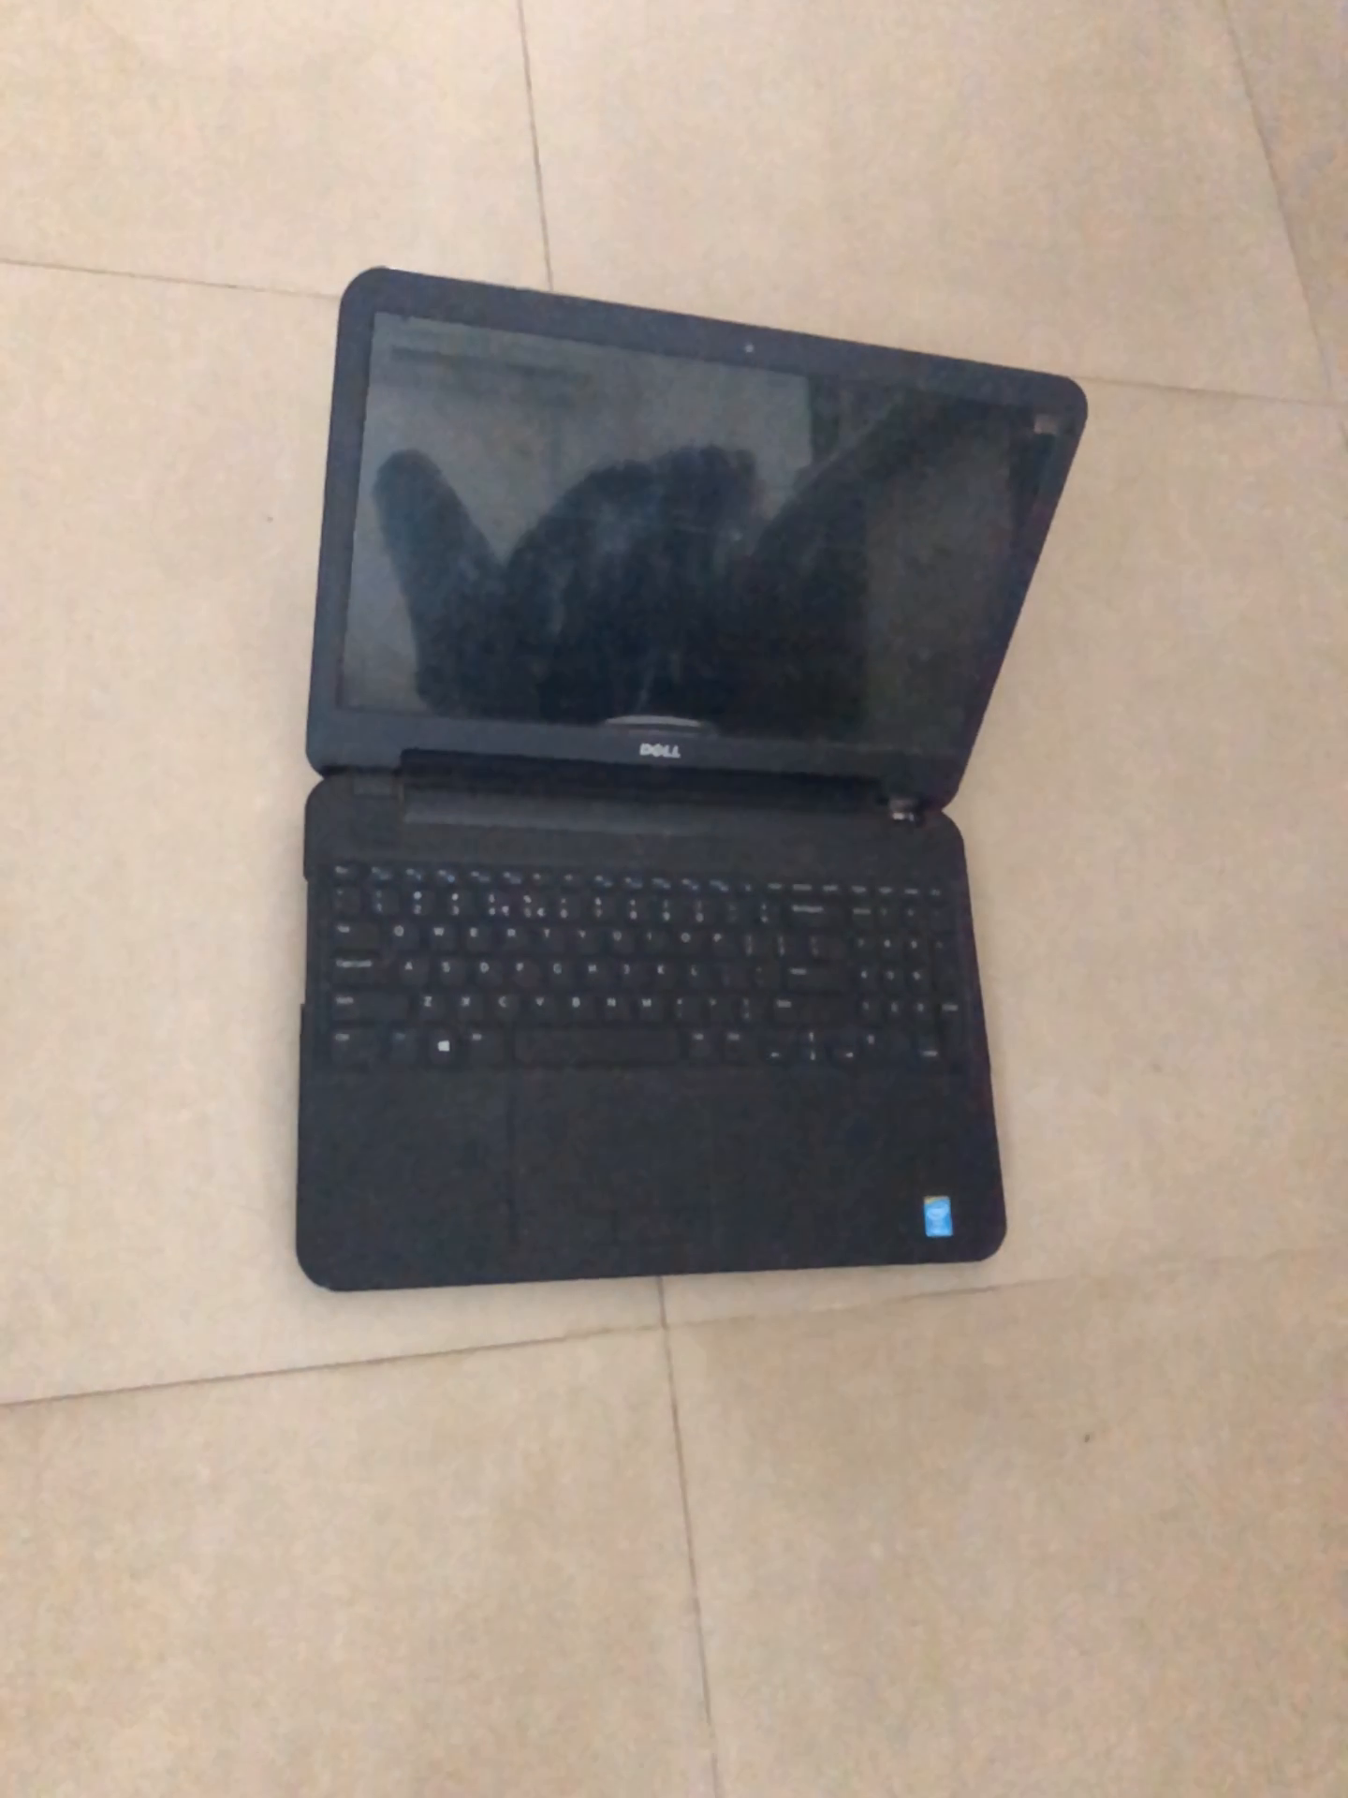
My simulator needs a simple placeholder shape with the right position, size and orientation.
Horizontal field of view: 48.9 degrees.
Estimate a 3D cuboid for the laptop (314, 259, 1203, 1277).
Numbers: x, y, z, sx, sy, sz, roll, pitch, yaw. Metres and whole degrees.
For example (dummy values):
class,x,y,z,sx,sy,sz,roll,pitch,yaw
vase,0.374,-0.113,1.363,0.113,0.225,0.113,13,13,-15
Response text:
class,x,y,z,sx,sy,sz,roll,pitch,yaw
laptop,0.014,-0.046,0.698,0.343,0.179,0.405,1,72,-17
